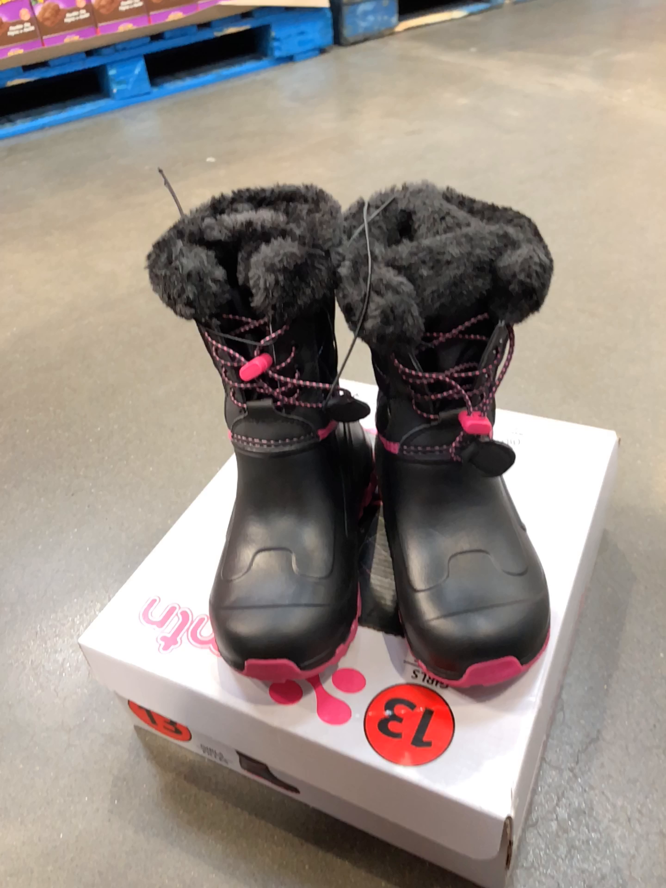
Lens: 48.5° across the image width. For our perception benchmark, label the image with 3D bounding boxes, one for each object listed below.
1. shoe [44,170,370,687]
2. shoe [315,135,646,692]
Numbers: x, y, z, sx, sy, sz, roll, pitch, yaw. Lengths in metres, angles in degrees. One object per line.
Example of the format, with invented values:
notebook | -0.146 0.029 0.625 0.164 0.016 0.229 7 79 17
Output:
shoe | -0.043 -0.014 0.438 0.110 0.209 0.221 -1 40 7
shoe | 0.064 -0.023 0.435 0.110 0.229 0.221 -7 39 -1
